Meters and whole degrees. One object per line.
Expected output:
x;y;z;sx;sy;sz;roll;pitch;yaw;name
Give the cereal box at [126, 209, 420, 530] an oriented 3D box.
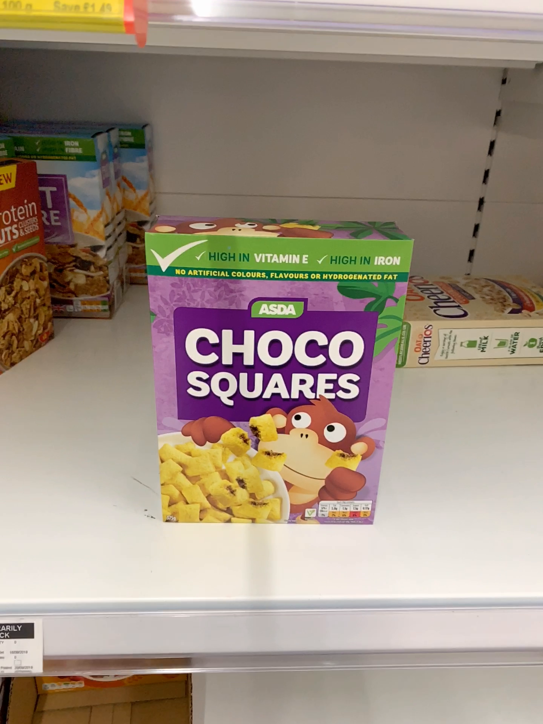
-0.003;0.014;0.442;0.190;0.248;0.060;1;26;-2;cereal box
